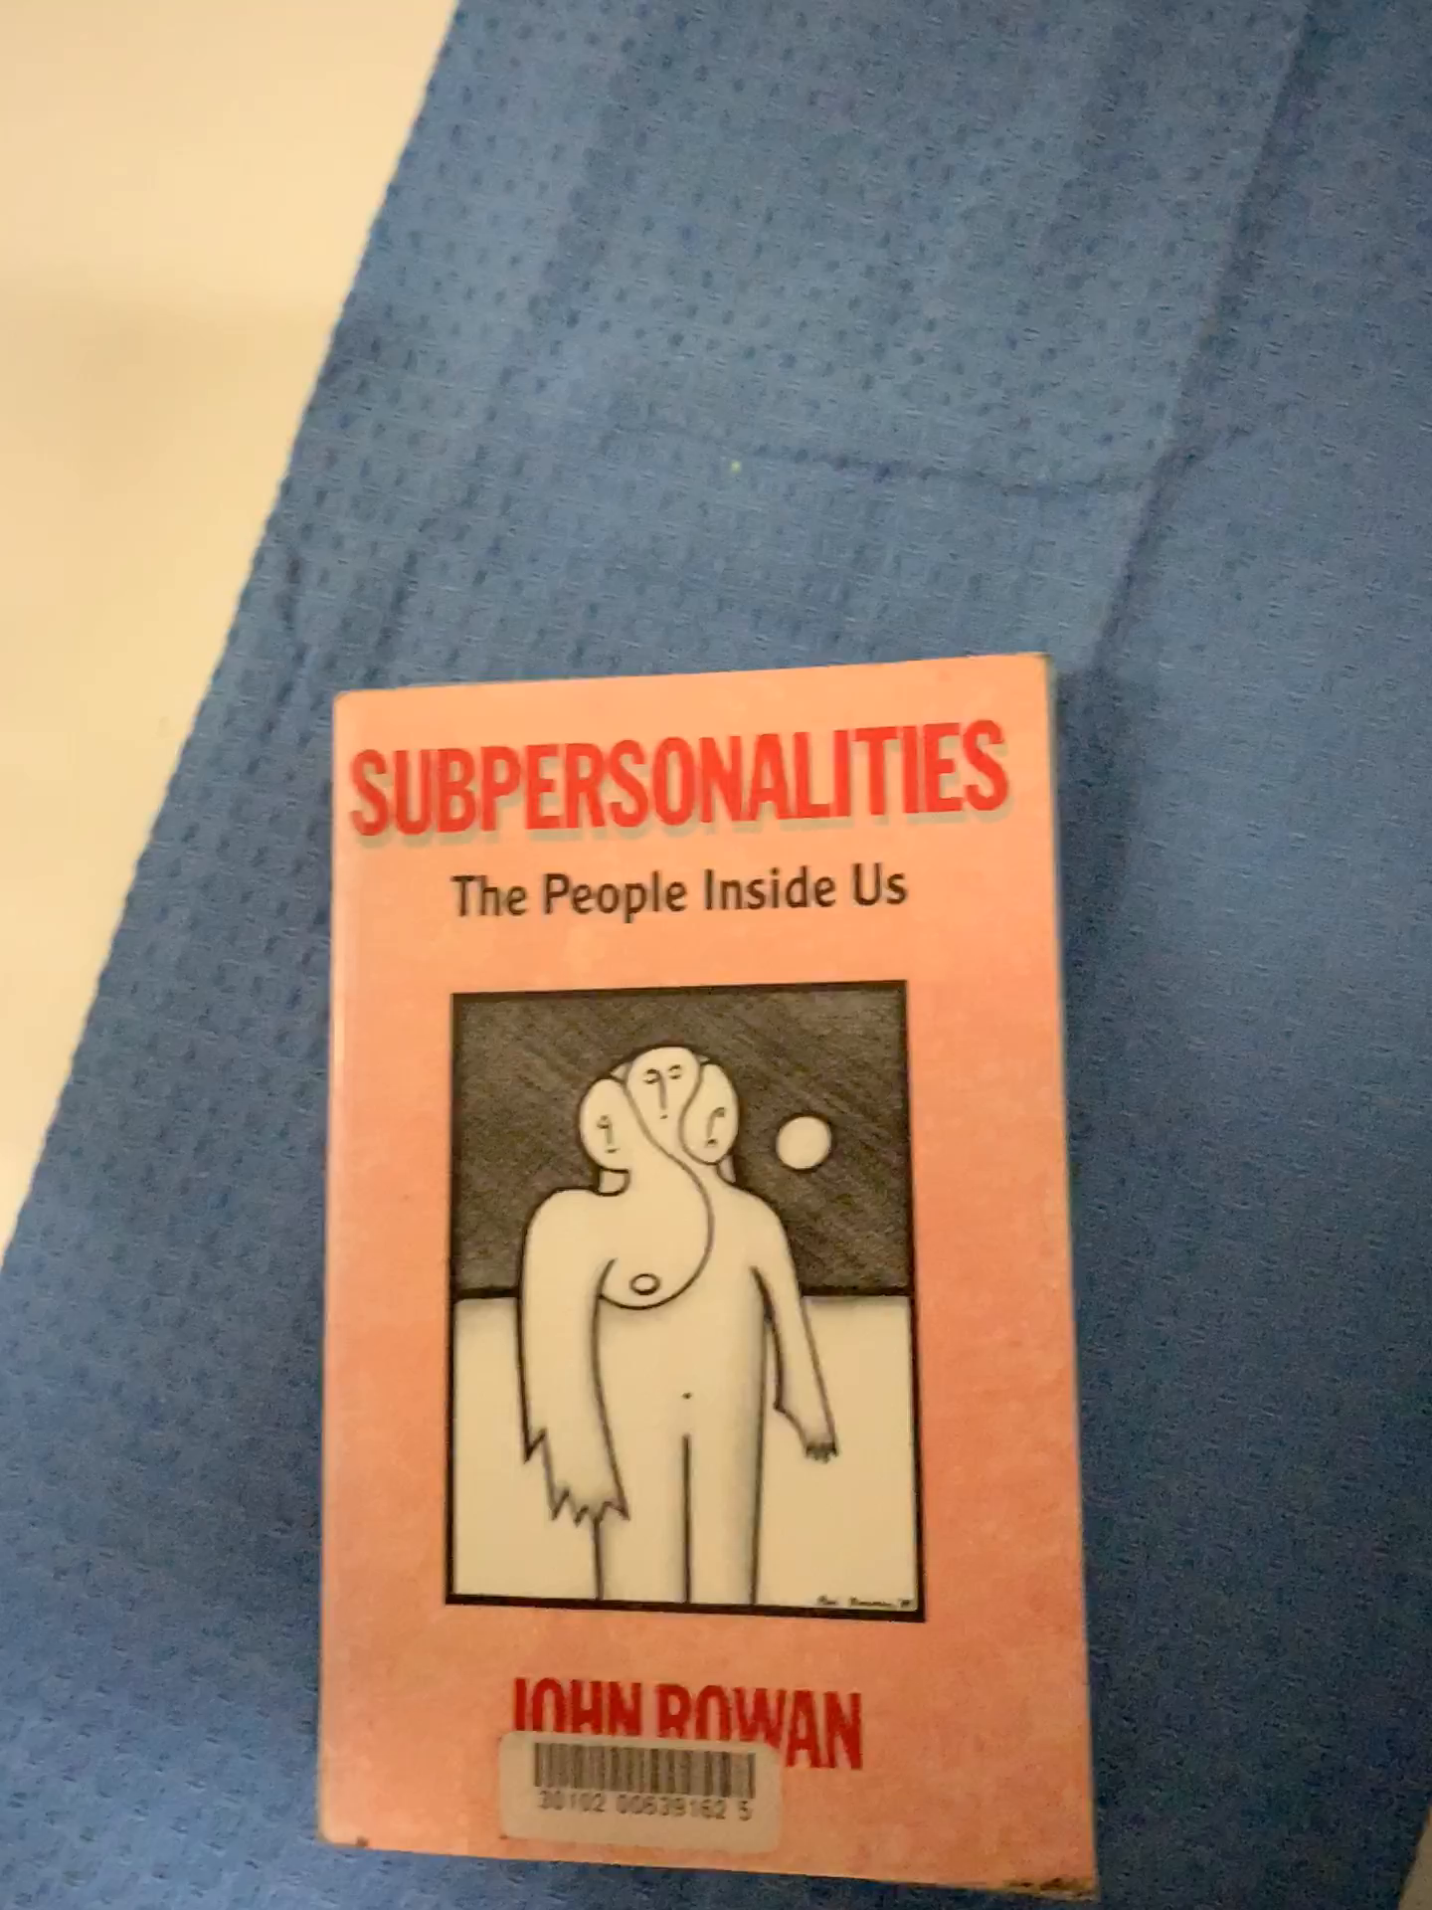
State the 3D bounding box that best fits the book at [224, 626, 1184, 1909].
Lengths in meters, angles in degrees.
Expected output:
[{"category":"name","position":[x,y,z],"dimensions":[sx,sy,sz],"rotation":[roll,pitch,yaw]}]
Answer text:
[{"category":"book","position":[-0.004,0.061,0.277],"dimensions":[0.160,0.040,0.230],"rotation":[-1,83,8]}]
